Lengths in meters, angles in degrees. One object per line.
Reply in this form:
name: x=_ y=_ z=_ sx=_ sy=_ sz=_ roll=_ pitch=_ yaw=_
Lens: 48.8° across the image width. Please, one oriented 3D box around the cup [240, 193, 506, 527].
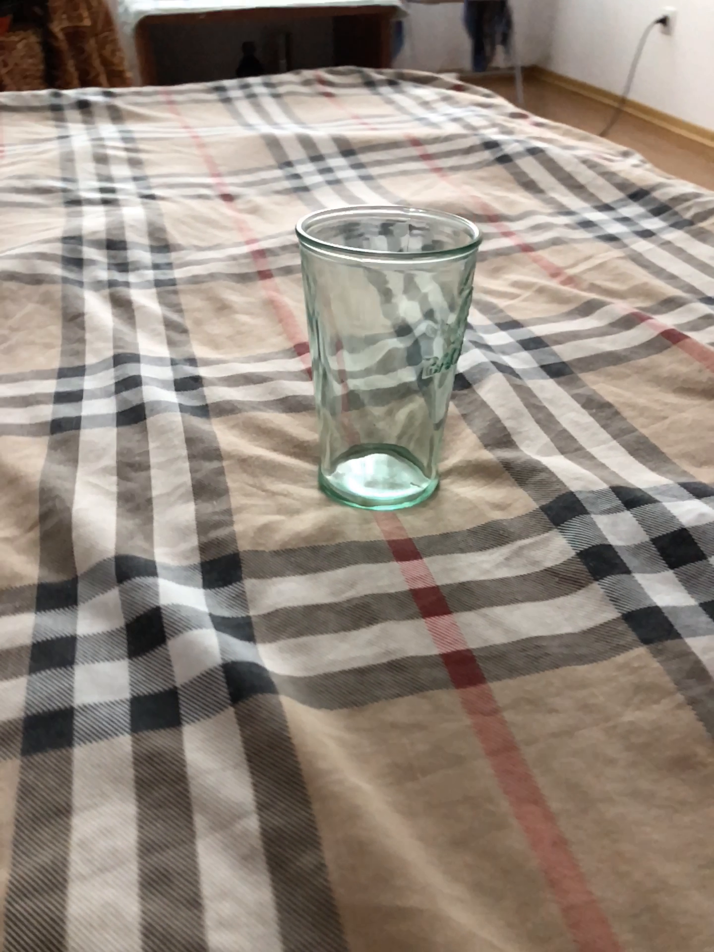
cup: x=0.012 y=-0.055 z=0.348 sx=0.082 sy=0.112 sz=0.086 roll=-2 pitch=32 yaw=1
